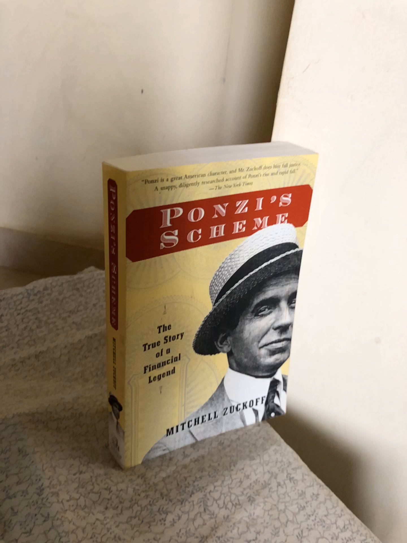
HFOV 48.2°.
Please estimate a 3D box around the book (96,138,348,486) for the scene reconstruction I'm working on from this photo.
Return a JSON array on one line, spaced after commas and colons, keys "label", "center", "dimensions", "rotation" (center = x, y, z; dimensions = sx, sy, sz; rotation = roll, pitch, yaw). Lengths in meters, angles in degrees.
[{"label": "book", "center": [0.009, 0.026, 0.300], "dimensions": [0.140, 0.209, 0.040], "rotation": [-12, 31, -28]}]
